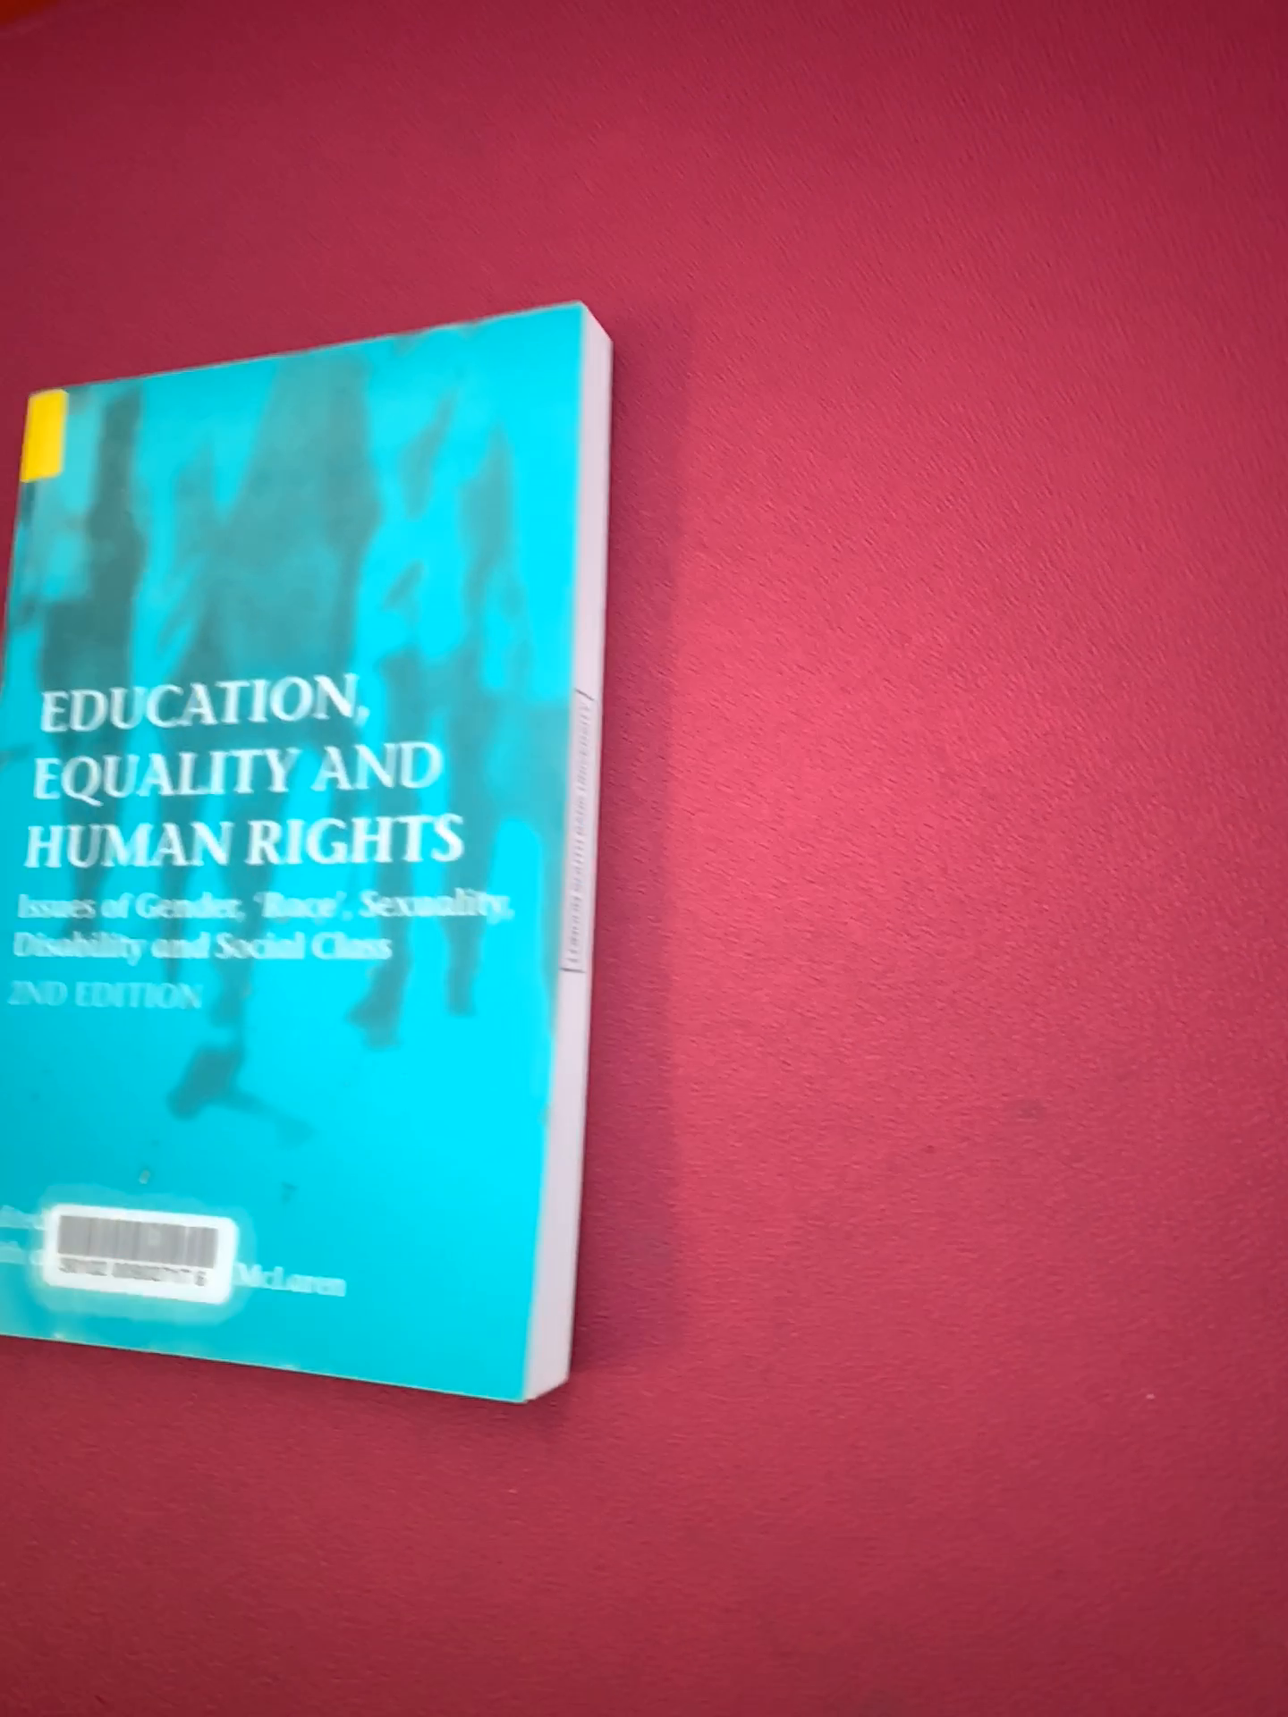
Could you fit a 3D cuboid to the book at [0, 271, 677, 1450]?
[{"bbox_3d":[-0.086,-0.005,0.319,0.180,0.030,0.250,-2,79,19],"label":"book"}]
